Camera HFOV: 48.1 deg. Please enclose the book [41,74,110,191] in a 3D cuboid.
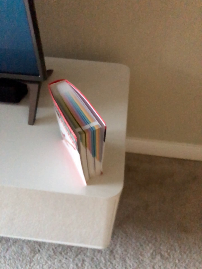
[{"bbox_3d":[-0.052,0.000,0.461,0.060,0.179,0.150,-22,54,-20],"label":"book"}]
